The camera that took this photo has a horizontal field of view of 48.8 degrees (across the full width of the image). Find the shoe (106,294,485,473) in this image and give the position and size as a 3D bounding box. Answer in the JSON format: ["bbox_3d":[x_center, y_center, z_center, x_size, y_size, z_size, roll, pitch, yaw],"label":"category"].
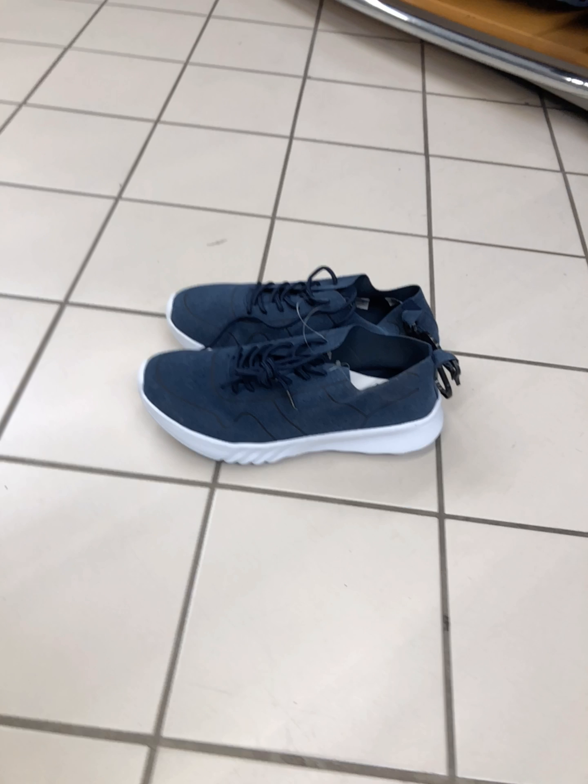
[{"bbox_3d":[-0.001,-0.004,0.572,0.290,0.119,0.101,1,50,-5],"label":"shoe"}]

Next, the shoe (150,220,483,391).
[{"bbox_3d":[0.018,-0.083,0.635,0.290,0.109,0.101,3,49,-3],"label":"shoe"}]
